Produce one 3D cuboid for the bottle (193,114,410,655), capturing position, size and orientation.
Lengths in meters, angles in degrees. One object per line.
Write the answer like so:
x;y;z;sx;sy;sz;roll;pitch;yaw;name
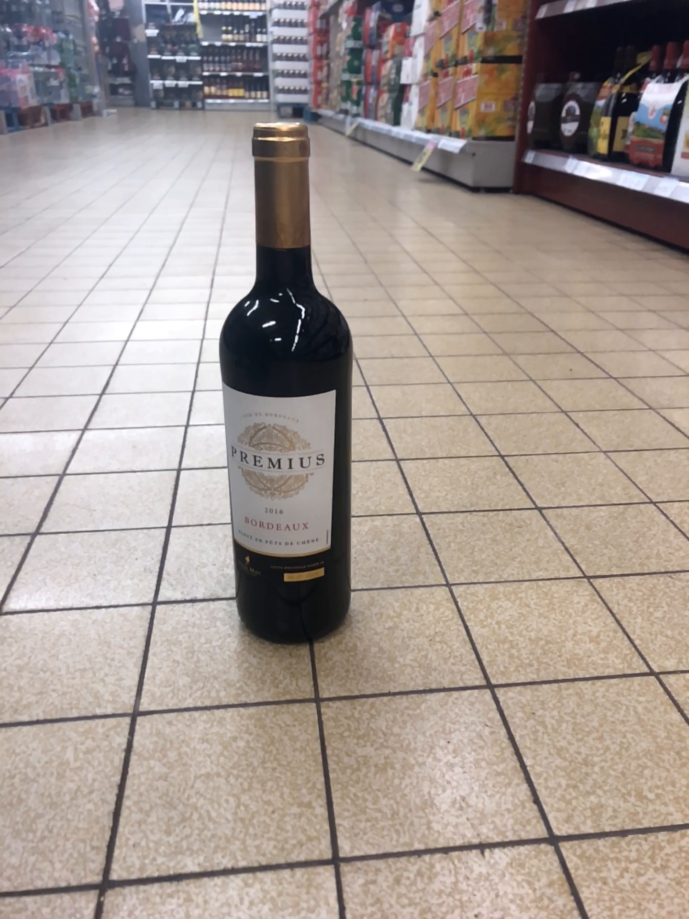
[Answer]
-0.019;-0.036;0.430;0.090;0.288;0.080;5;25;9;bottle
